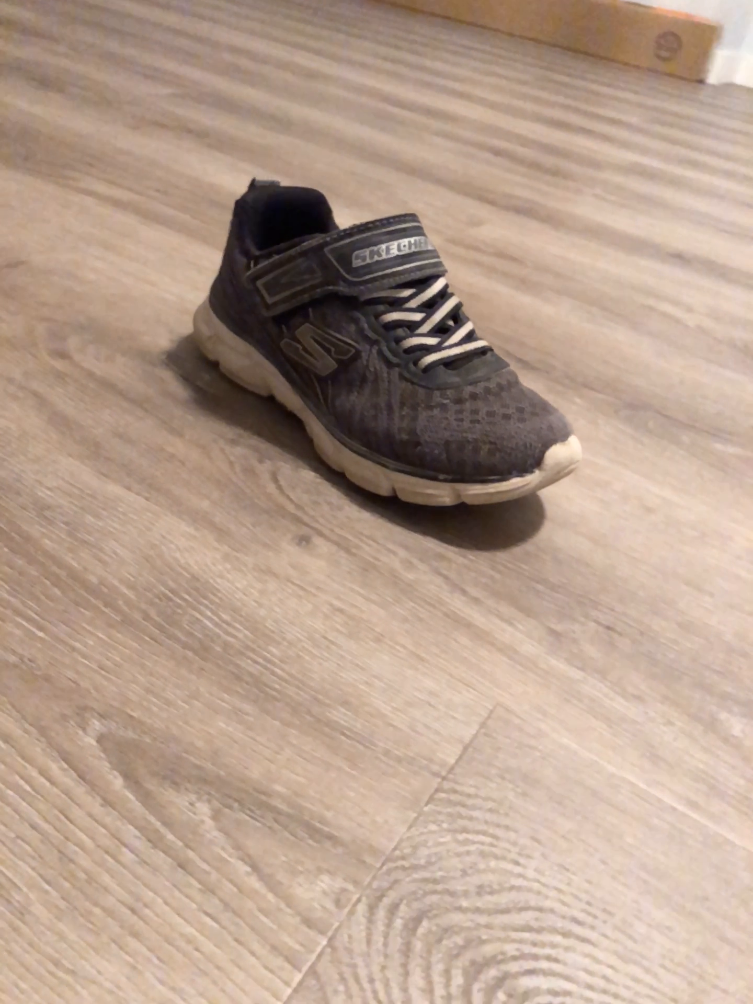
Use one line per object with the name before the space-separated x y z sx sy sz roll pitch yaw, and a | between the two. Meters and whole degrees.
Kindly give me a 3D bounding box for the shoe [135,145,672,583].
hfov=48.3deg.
shoe | -0.005 -0.082 0.390 0.100 0.099 0.230 -21 46 -40
